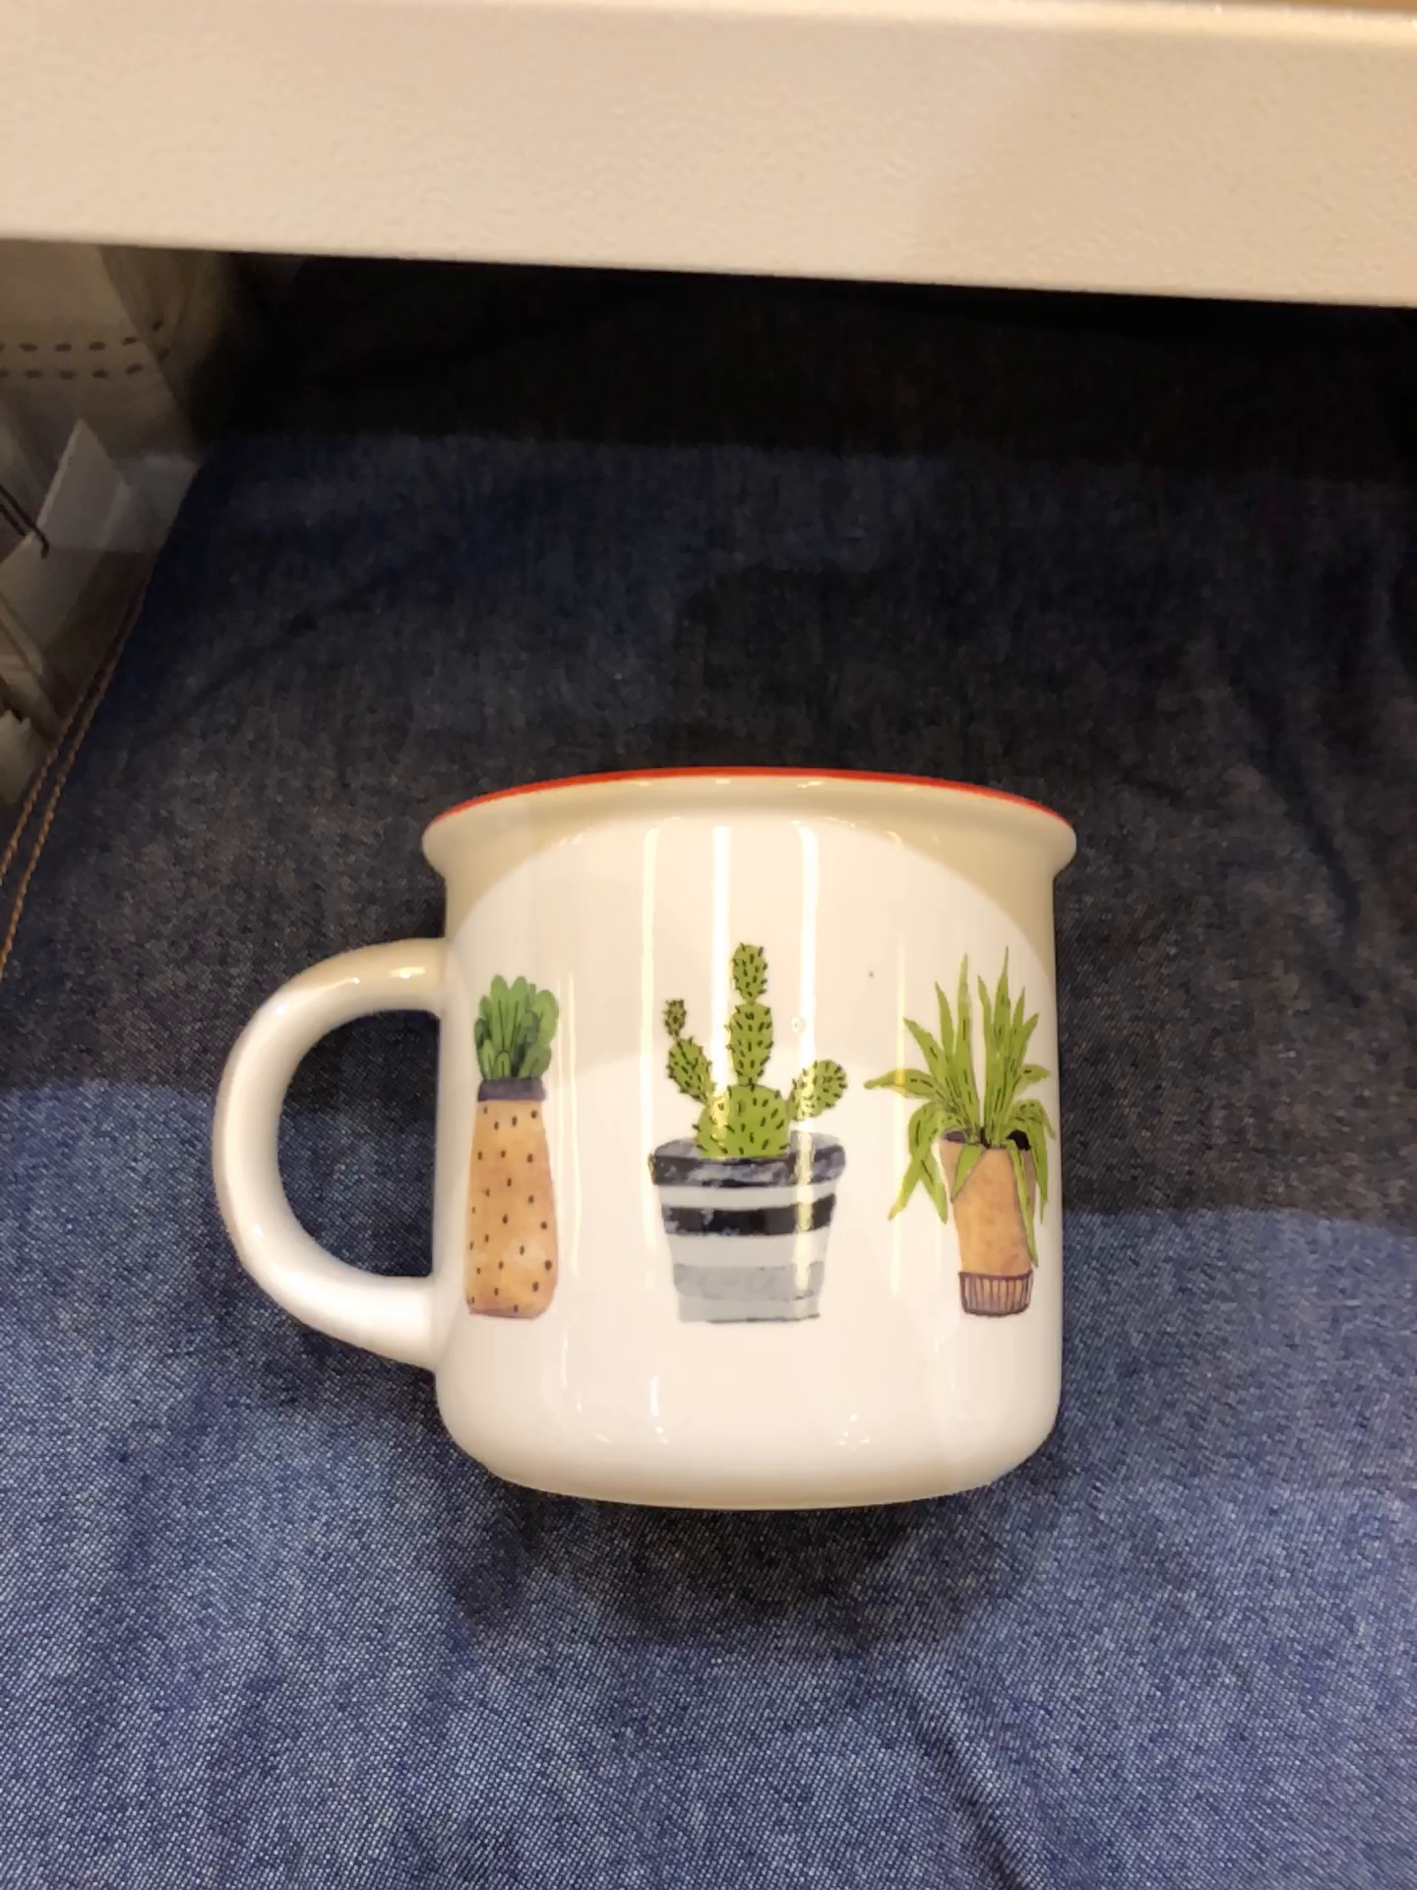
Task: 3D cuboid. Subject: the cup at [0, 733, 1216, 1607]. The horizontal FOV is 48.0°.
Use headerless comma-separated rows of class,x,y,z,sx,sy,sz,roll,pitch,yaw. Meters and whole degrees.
cup,-0.015,0.033,0.228,0.140,0.090,0.100,0,77,0
